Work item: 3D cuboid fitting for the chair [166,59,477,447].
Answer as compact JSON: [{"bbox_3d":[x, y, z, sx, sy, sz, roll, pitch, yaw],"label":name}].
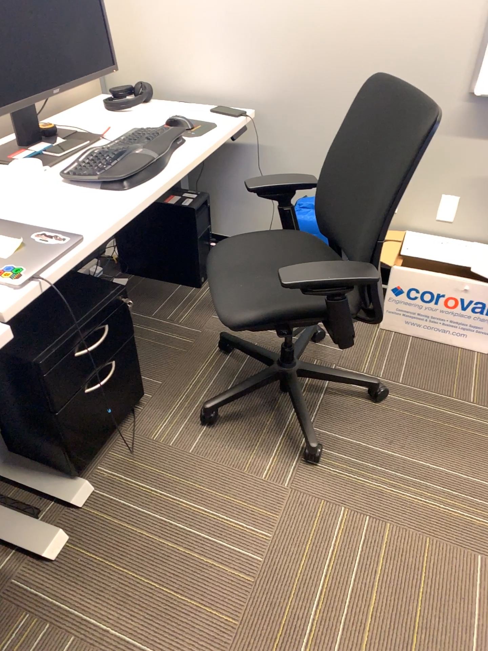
[{"bbox_3d":[0.130,-0.275,1.671,0.610,0.945,0.835,-8,39,-10],"label":"chair"}]
